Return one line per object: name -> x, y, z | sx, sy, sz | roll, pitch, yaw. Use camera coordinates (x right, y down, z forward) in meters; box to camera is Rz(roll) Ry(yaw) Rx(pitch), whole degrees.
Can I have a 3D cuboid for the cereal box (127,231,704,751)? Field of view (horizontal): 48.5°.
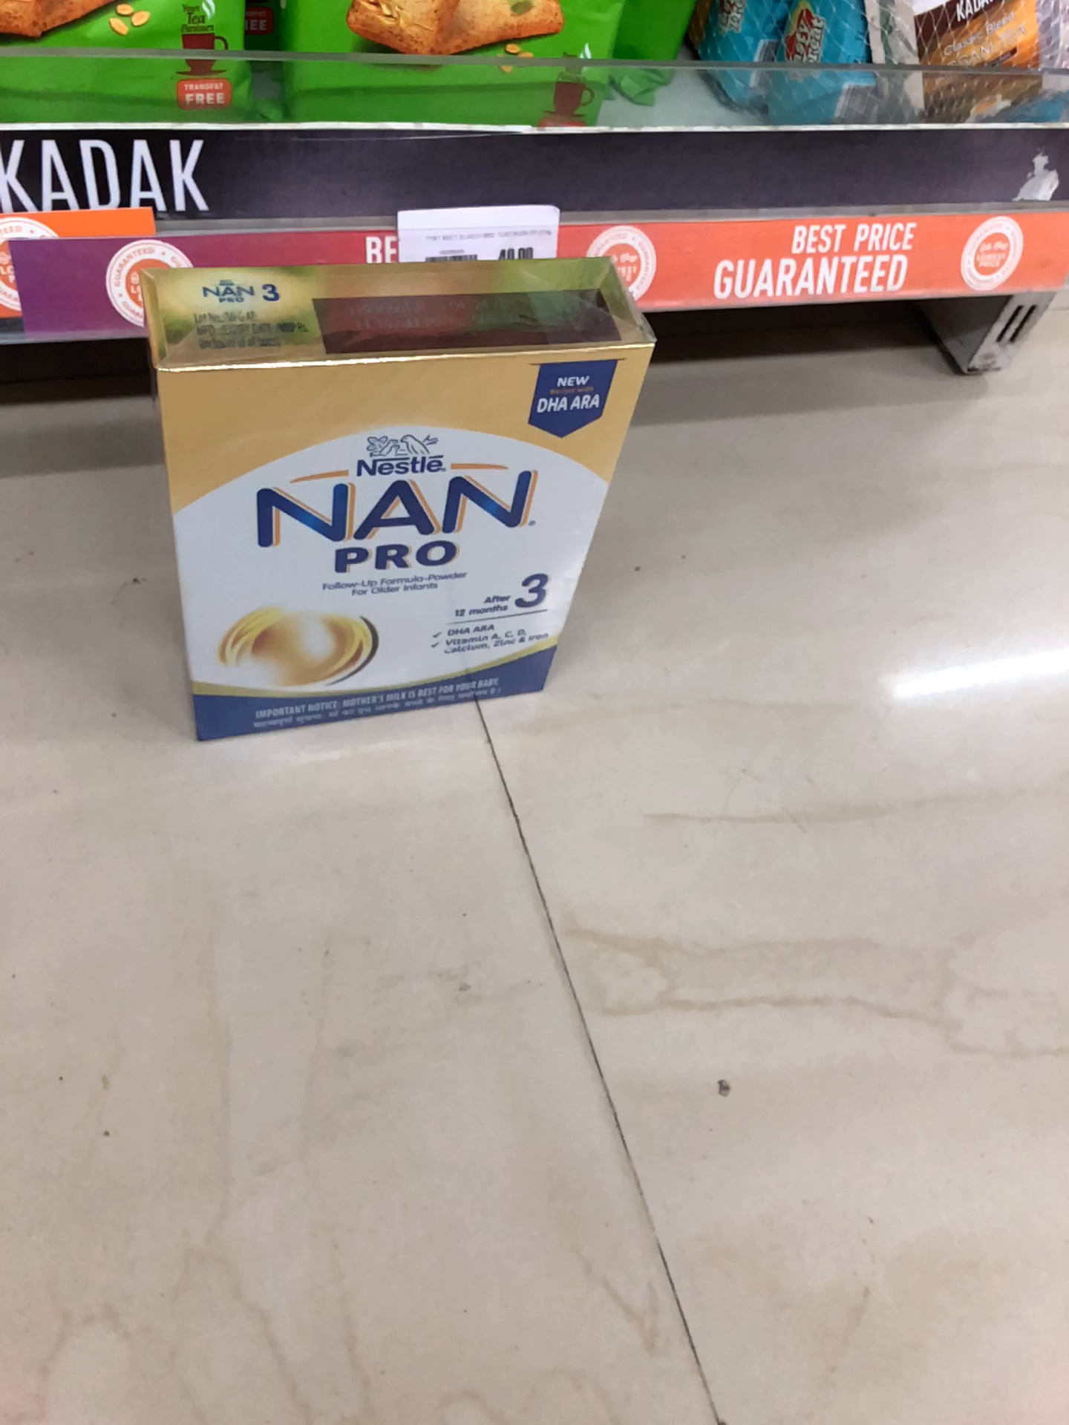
cereal box -> -0.048, -0.070, 0.421 | 0.160, 0.189, 0.050 | -9, 58, -18
